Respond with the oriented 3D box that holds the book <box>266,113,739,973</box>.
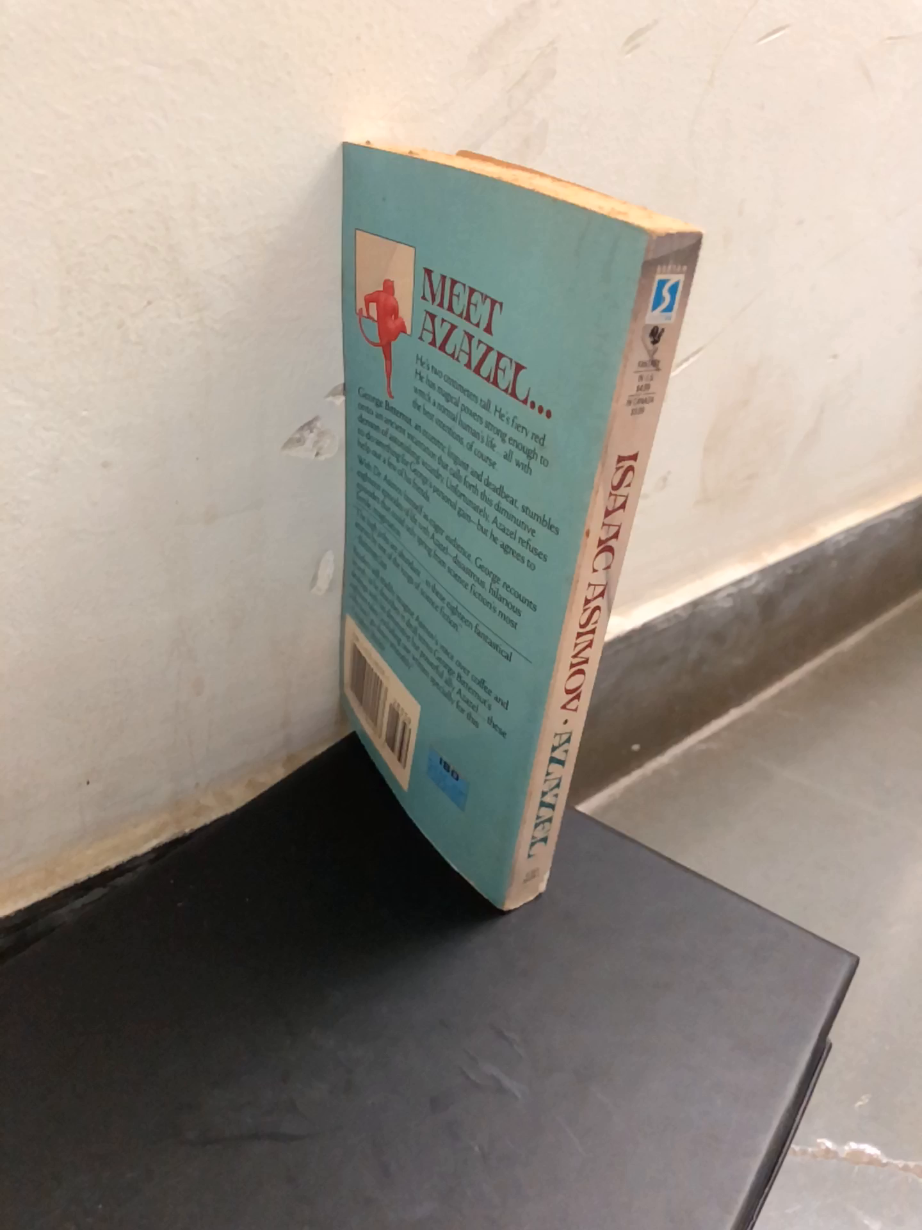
[{"bbox_3d":[-0.008,-0.024,0.286,0.030,0.189,0.150,-14,36,-29],"label":"book"}]
